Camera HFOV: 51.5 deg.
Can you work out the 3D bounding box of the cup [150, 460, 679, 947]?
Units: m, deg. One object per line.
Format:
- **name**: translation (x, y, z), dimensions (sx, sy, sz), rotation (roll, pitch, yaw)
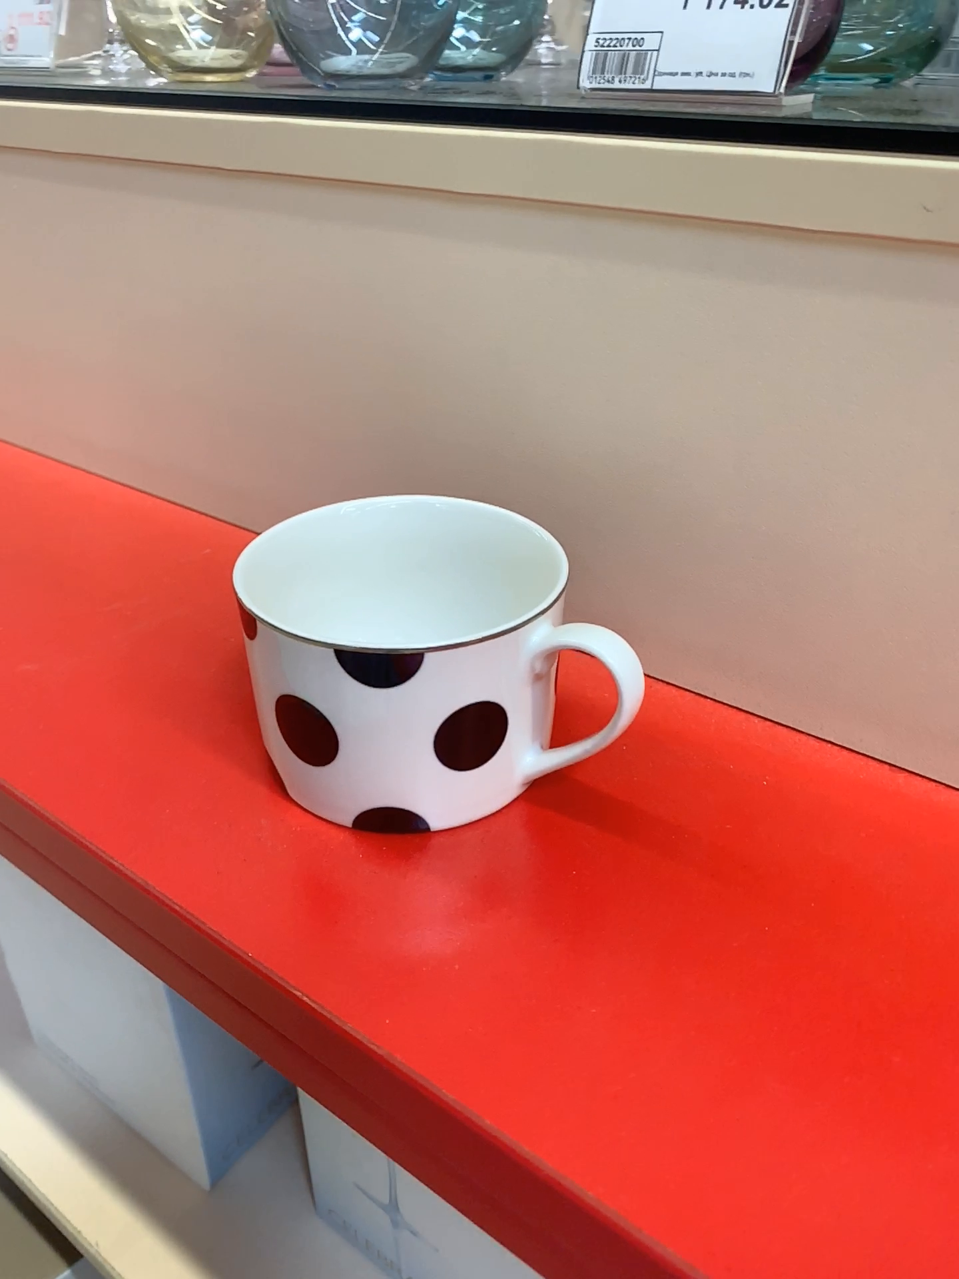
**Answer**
- **cup**: translation (-0.014, 0.008, 0.258), dimensions (0.100, 0.070, 0.080), rotation (17, 35, 27)
